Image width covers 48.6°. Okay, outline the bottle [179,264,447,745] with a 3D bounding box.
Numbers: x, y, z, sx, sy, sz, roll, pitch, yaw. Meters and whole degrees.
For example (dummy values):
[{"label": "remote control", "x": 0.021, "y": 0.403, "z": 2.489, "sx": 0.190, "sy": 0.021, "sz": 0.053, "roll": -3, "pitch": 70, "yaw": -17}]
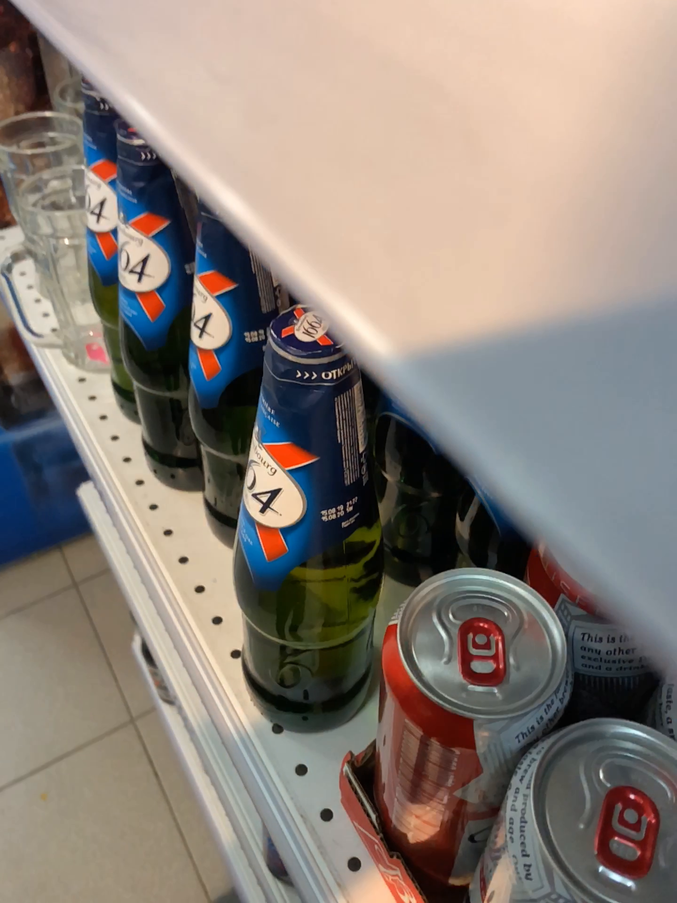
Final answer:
[{"label": "bottle", "x": -0.012, "y": 0.038, "z": 0.328, "sx": 0.080, "sy": 0.219, "sz": 0.080, "roll": 0, "pitch": 45, "yaw": 0}]
